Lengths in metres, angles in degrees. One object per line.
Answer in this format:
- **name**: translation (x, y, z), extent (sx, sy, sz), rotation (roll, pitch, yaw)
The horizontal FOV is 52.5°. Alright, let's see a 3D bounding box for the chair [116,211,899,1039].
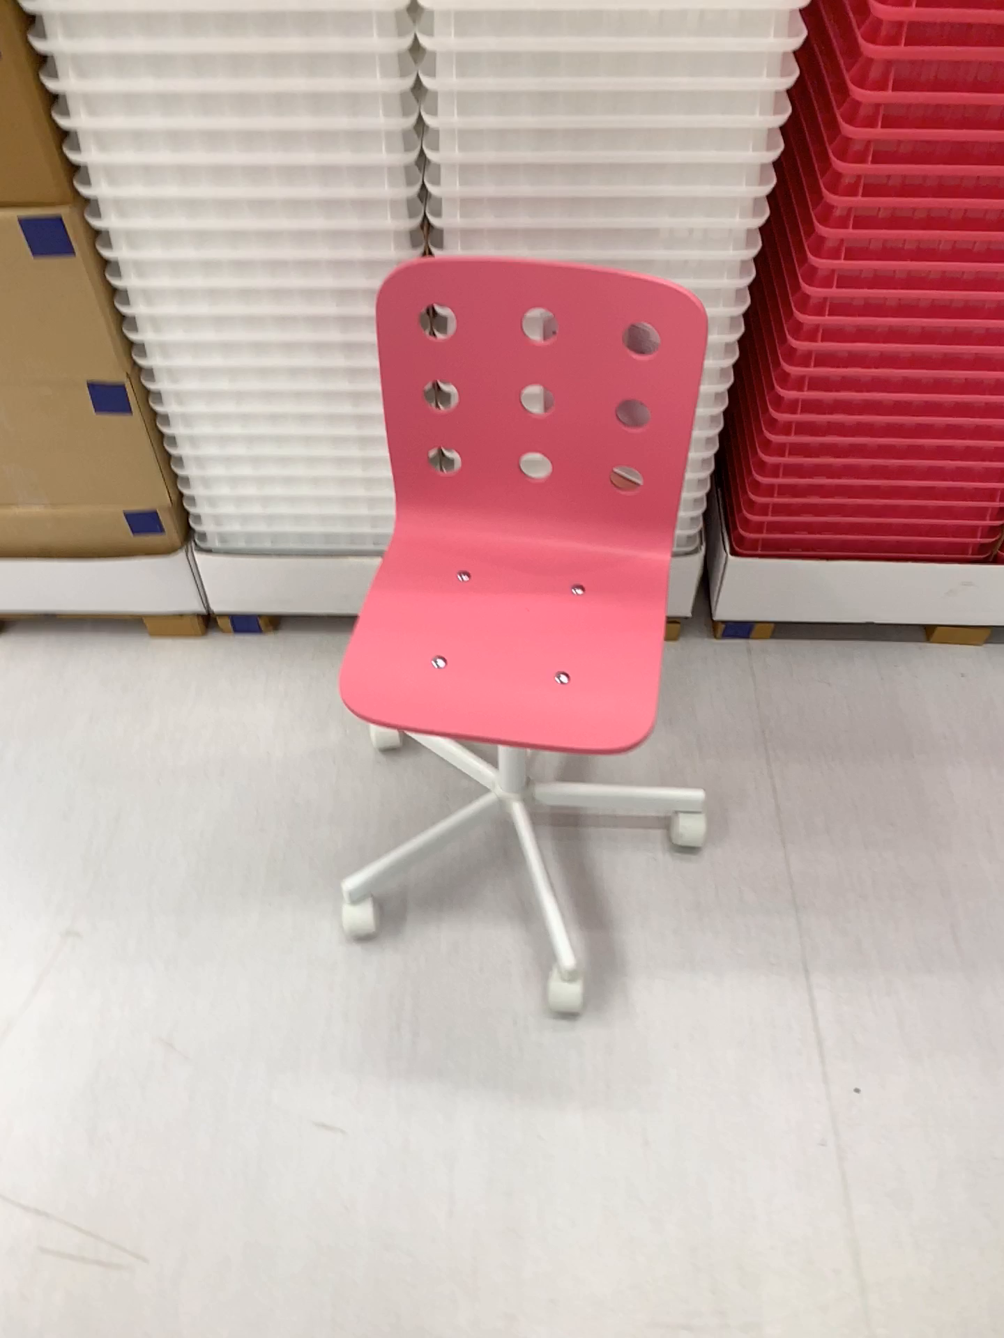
- **chair**: translation (0.035, -0.019, 1.165), extent (0.550, 0.708, 0.582), rotation (5, 52, 5)
